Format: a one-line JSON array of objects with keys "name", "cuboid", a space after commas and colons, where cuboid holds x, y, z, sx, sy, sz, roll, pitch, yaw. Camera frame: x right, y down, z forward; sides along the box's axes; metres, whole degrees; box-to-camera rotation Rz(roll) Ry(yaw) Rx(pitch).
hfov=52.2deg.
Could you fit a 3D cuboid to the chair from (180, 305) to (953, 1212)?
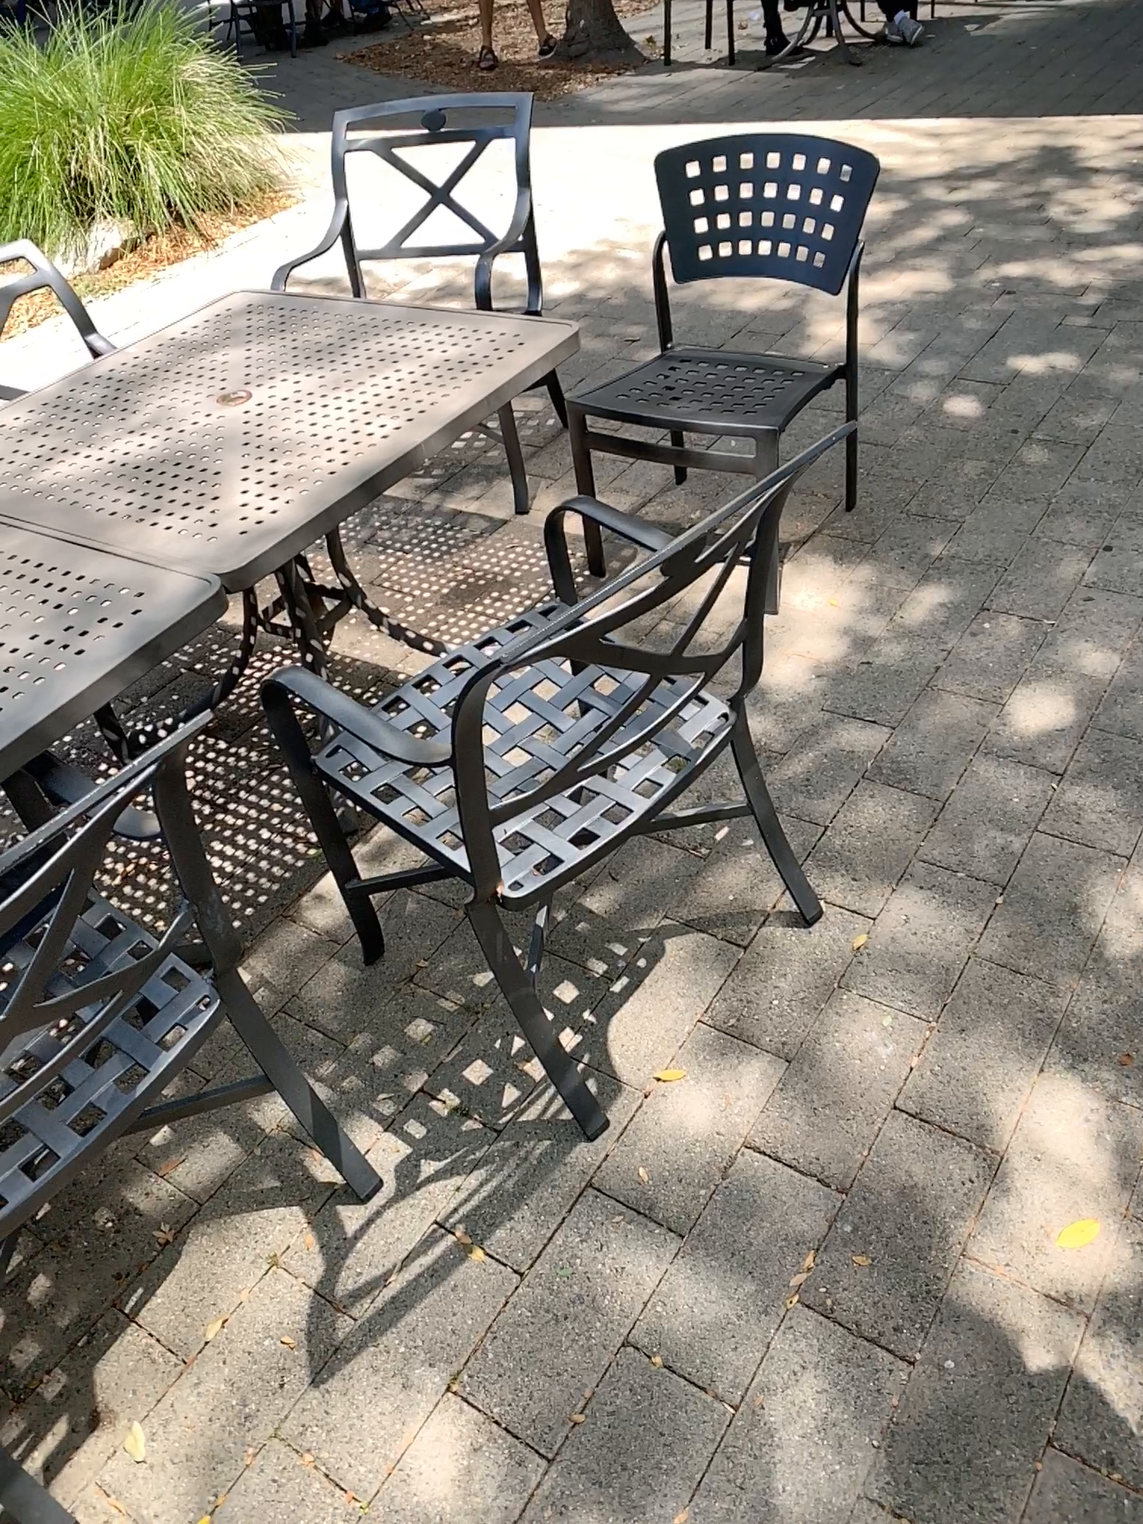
[{"name": "chair", "cuboid": [0.038, -0.026, 1.595, 0.613, 0.884, 0.631, 28, 52, 36]}]
